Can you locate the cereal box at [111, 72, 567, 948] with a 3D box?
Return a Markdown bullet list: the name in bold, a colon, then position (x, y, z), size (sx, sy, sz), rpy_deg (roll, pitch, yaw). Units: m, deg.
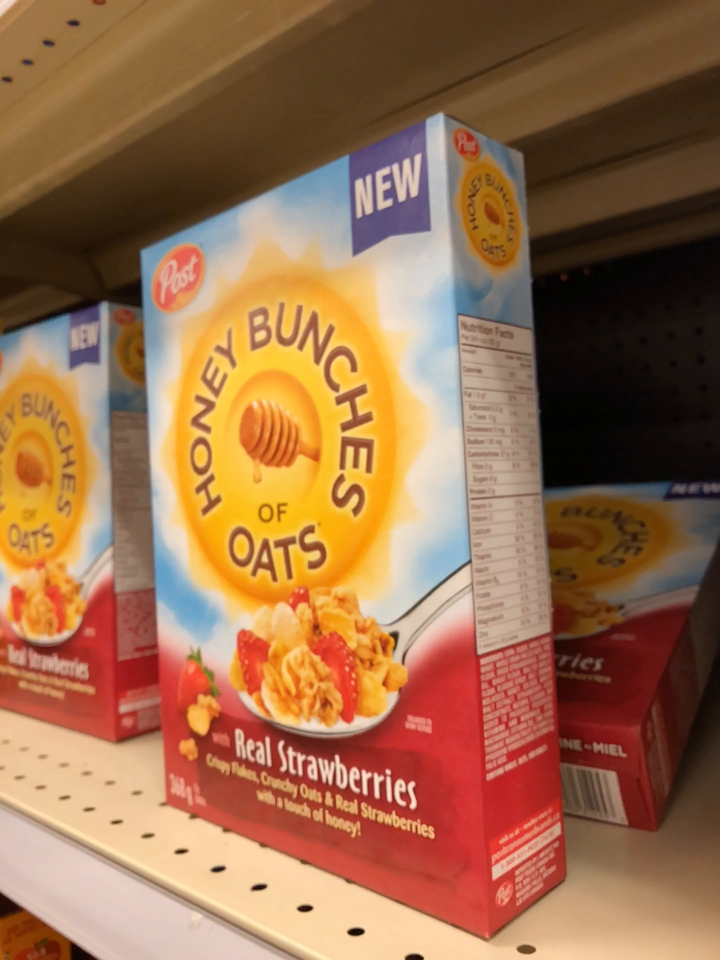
- **cereal box**: position (-0.024, 0.011, 0.337), size (0.200, 0.270, 0.050), rpy_deg (-4, -1, 44)
